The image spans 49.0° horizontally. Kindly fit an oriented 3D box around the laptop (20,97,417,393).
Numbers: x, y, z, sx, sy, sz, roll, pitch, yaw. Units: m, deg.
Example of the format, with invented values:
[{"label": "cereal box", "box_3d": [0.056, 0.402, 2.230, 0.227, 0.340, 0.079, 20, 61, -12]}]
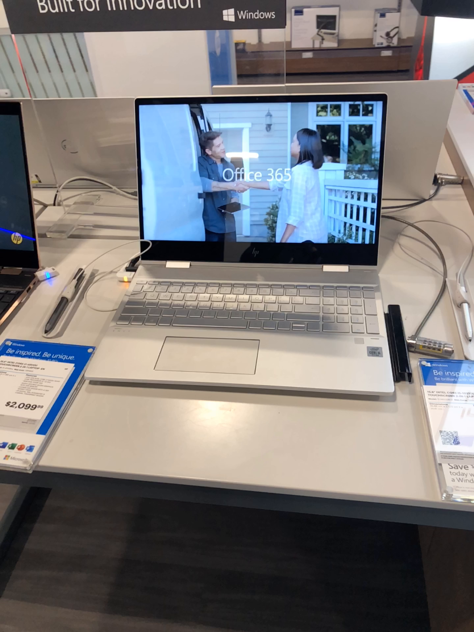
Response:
[{"label": "laptop", "box_3d": [0.005, -0.113, 0.665, 0.359, 0.210, 0.355, 2, 39, 9]}]
